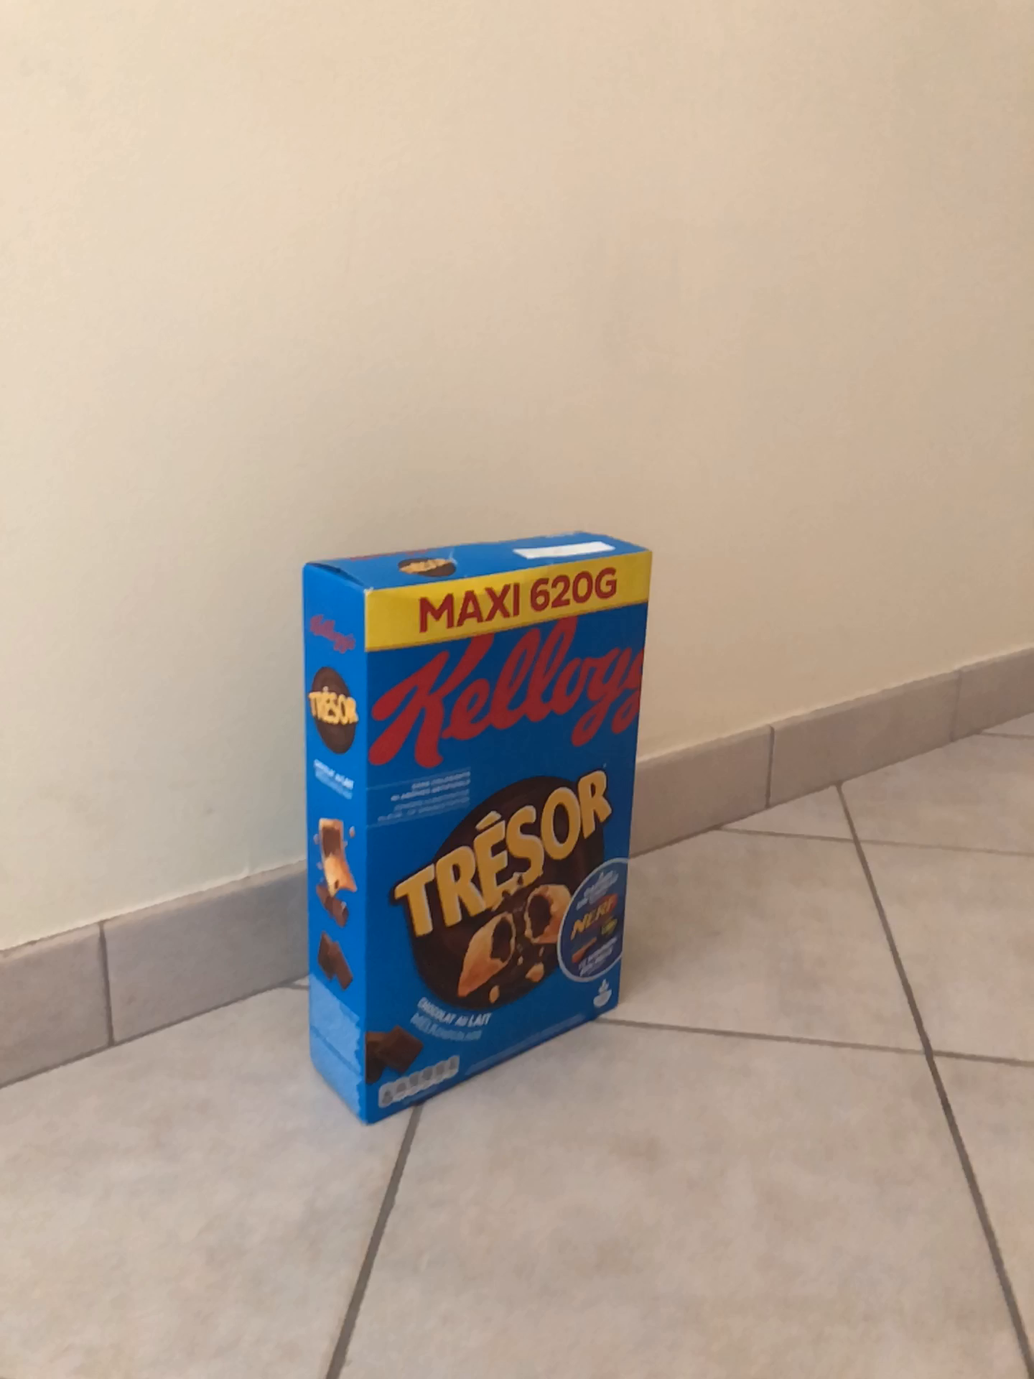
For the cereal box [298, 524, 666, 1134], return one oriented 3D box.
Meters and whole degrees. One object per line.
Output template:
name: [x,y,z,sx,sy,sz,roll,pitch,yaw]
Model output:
cereal box: [-0.019,0.069,0.644,0.191,0.299,0.070,-12,23,-37]
